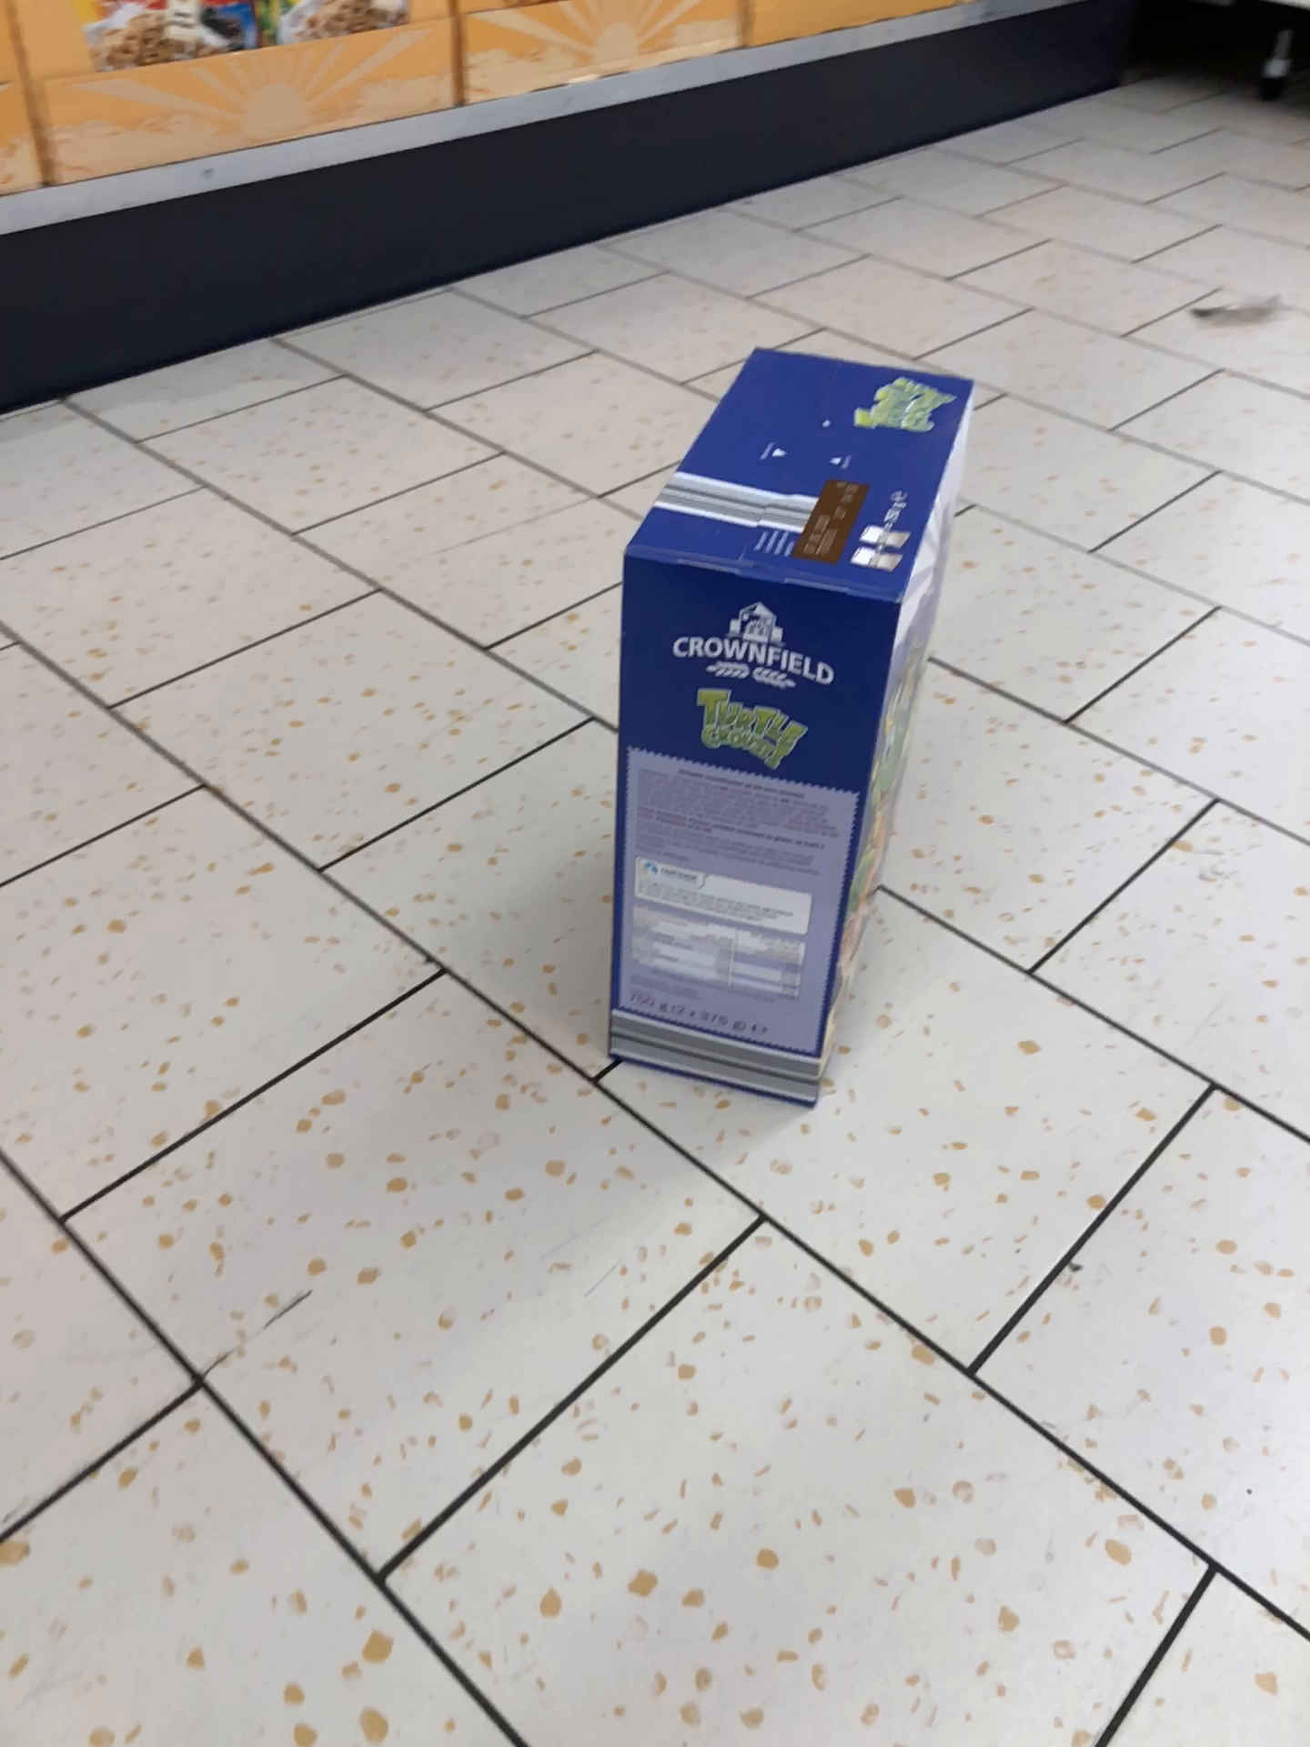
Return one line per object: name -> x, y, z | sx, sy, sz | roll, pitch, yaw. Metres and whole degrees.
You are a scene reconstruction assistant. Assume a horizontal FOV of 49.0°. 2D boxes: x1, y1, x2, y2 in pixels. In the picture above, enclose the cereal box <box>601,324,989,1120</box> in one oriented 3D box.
cereal box -> 0.058, -0.065, 0.617 | 0.100, 0.258, 0.201 | 12, 41, 11
